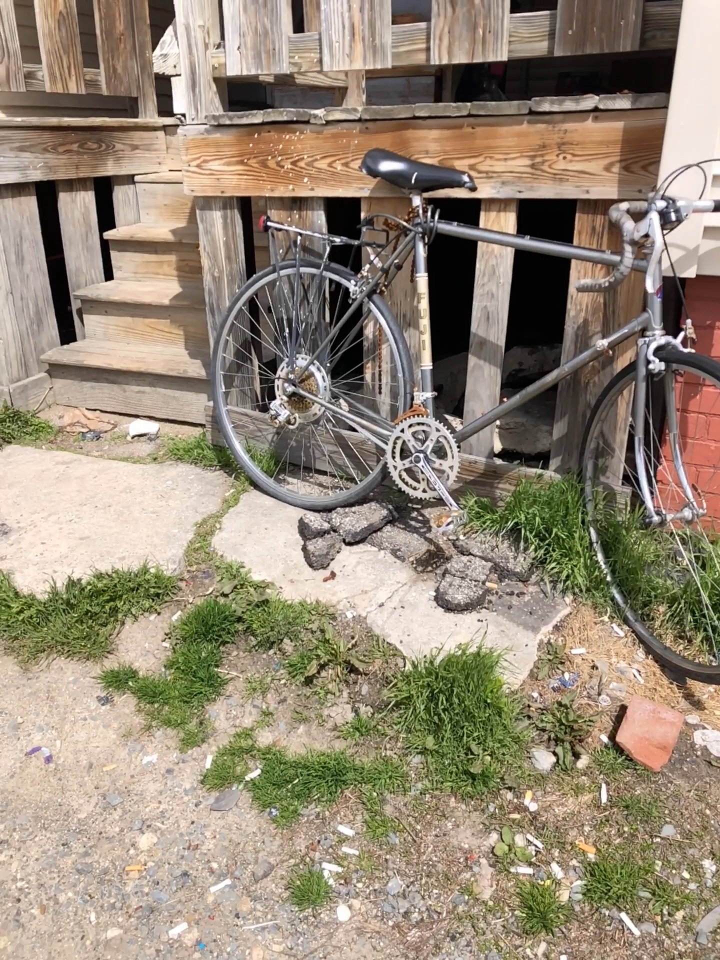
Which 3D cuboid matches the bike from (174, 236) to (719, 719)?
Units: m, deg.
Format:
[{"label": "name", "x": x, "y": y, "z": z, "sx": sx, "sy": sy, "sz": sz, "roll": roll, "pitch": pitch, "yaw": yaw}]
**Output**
[{"label": "bike", "x": 0.189, "y": -0.138, "z": 1.448, "sx": 1.203, "sy": 0.478, "sz": 0.400, "roll": 19, "pitch": 29, "yaw": 37}]
